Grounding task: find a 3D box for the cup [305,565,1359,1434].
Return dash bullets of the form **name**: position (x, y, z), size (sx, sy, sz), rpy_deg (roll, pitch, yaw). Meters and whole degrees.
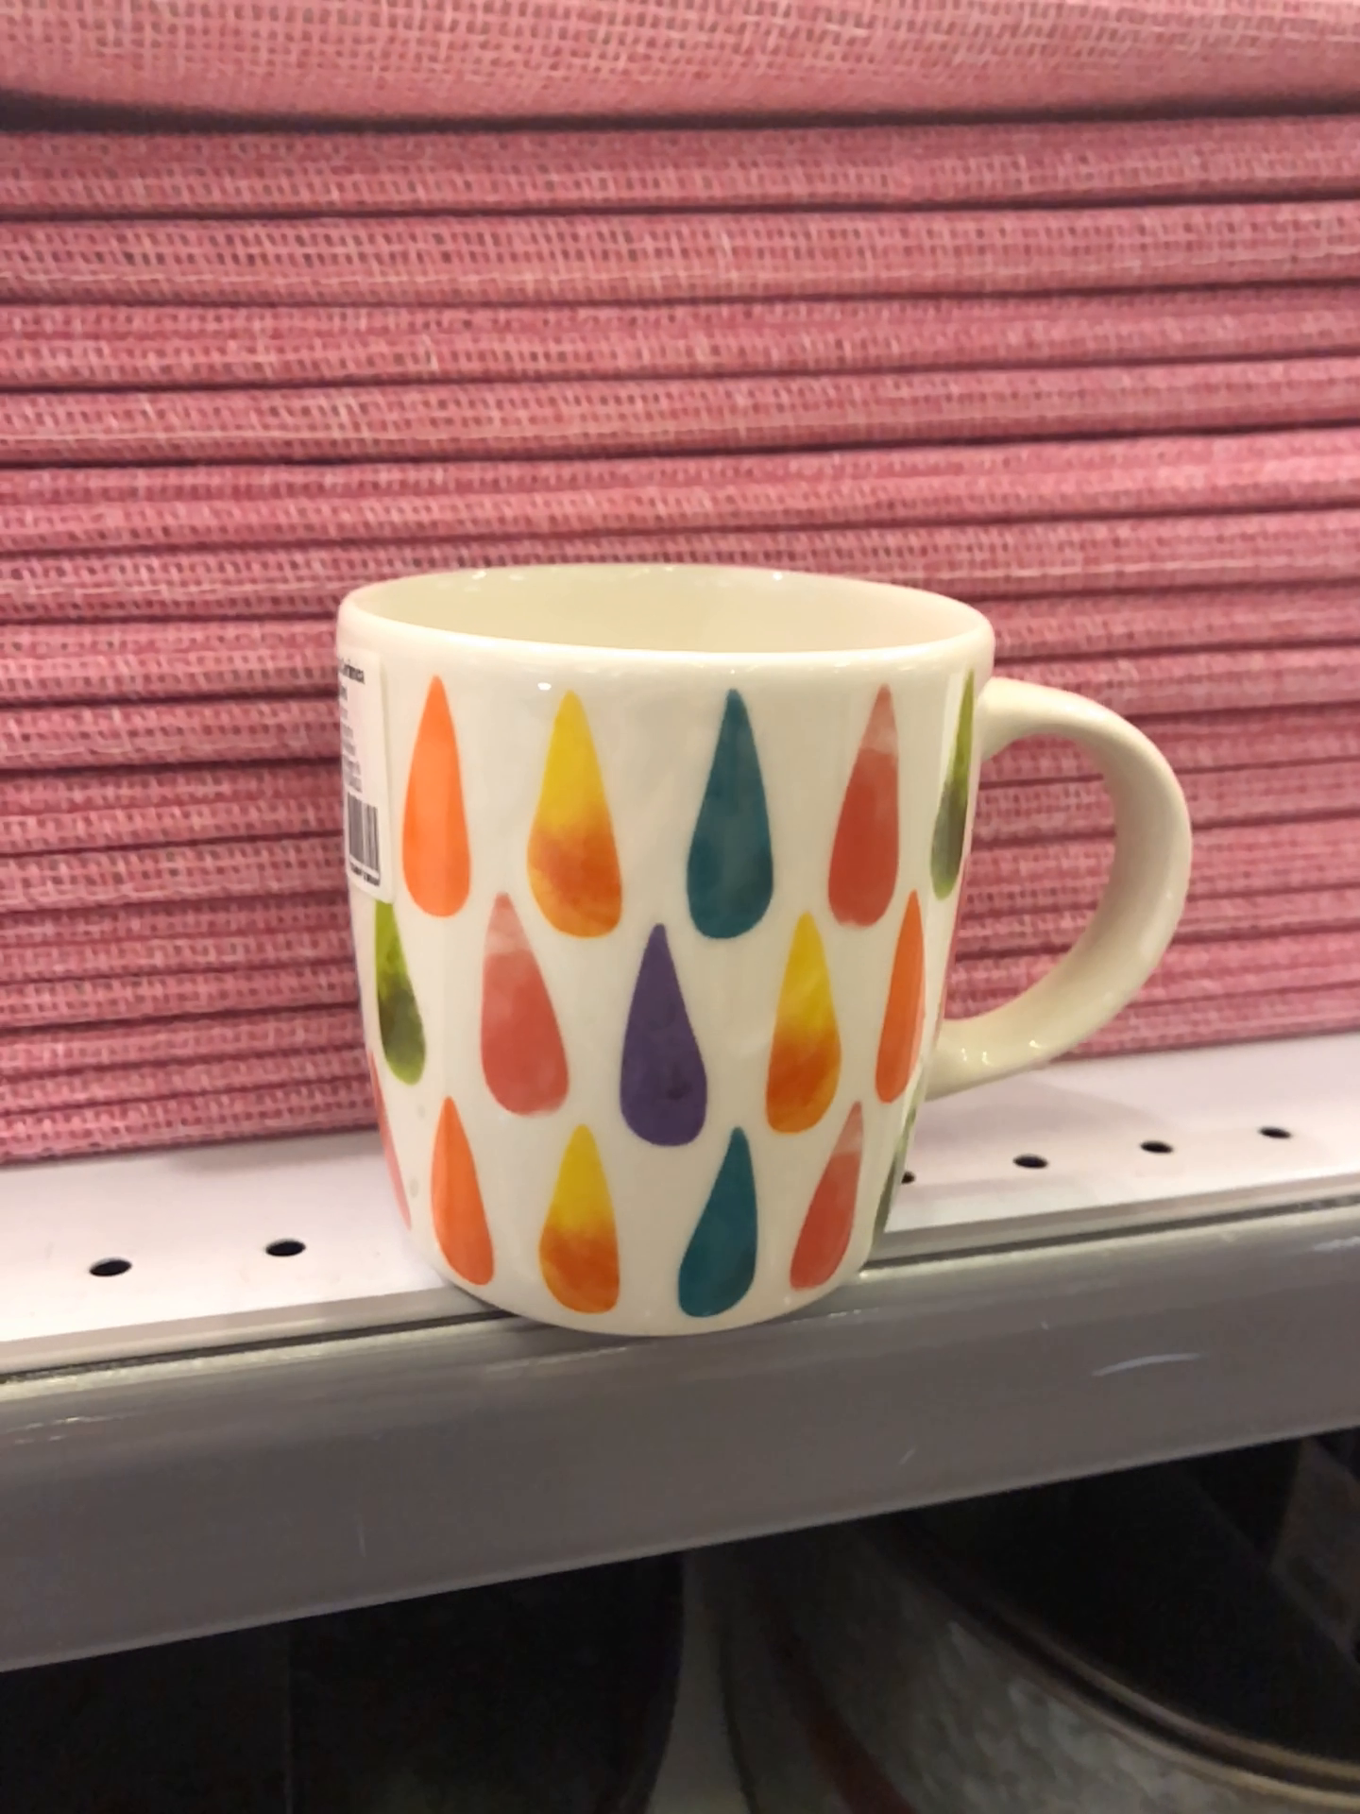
- **cup**: position (0.017, 0.001, 0.224), size (0.130, 0.089, 0.090), rpy_deg (-4, 19, -17)
